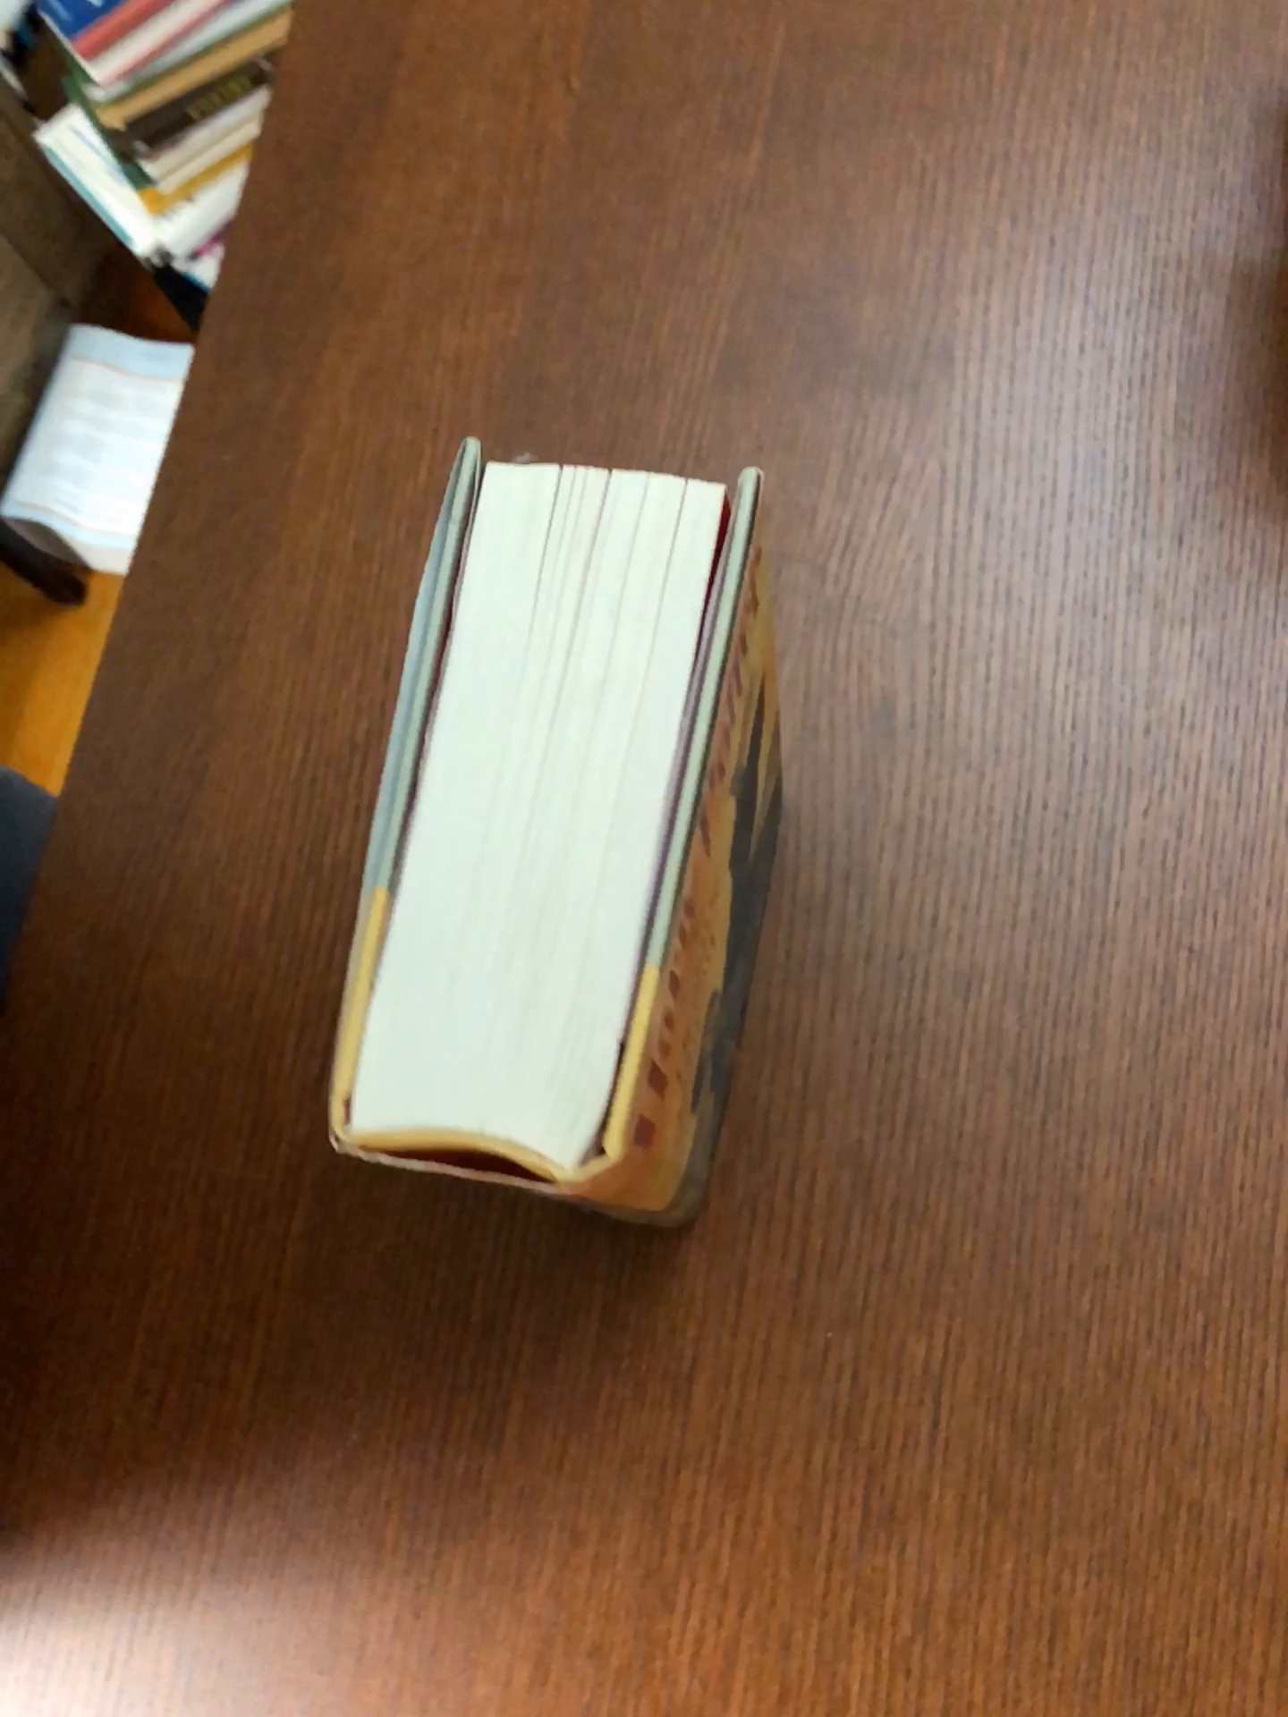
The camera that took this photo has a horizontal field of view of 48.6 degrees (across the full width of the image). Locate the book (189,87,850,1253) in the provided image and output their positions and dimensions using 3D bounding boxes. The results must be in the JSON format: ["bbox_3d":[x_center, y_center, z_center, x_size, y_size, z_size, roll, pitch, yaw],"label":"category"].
[{"bbox_3d":[0.003,-0.006,0.392,0.070,0.299,0.210,10,76,11],"label":"book"}]
